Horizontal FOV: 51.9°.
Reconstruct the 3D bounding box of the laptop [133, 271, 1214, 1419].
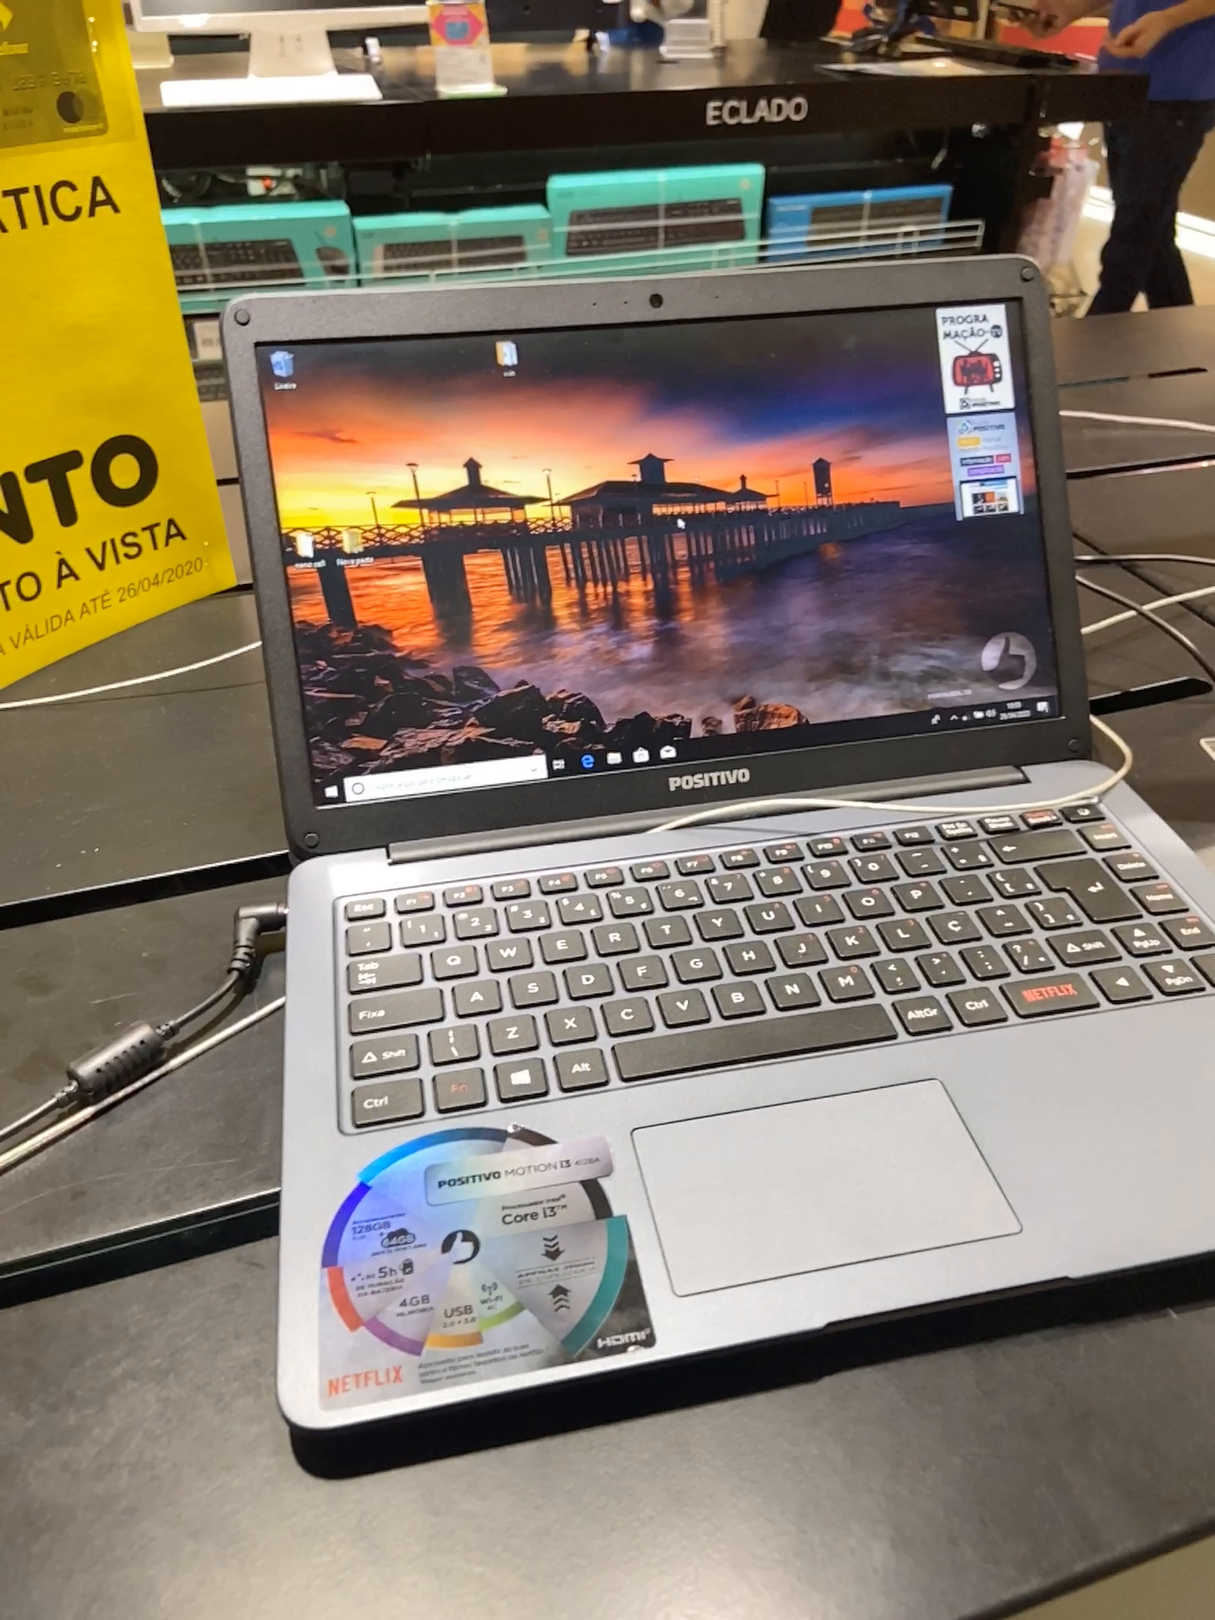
[{"bbox_3d":[0.055,-0.042,0.412,0.332,0.172,0.343,-7,35,-9],"label":"laptop"}]
